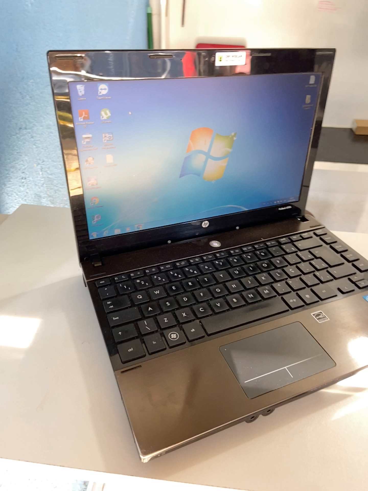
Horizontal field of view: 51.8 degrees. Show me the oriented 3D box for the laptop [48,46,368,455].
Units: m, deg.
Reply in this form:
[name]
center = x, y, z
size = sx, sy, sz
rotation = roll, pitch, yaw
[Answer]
[laptop]
center = 0.072, -0.046, 0.356
size = 0.322, 0.207, 0.260
rotation = -12, 37, -19
